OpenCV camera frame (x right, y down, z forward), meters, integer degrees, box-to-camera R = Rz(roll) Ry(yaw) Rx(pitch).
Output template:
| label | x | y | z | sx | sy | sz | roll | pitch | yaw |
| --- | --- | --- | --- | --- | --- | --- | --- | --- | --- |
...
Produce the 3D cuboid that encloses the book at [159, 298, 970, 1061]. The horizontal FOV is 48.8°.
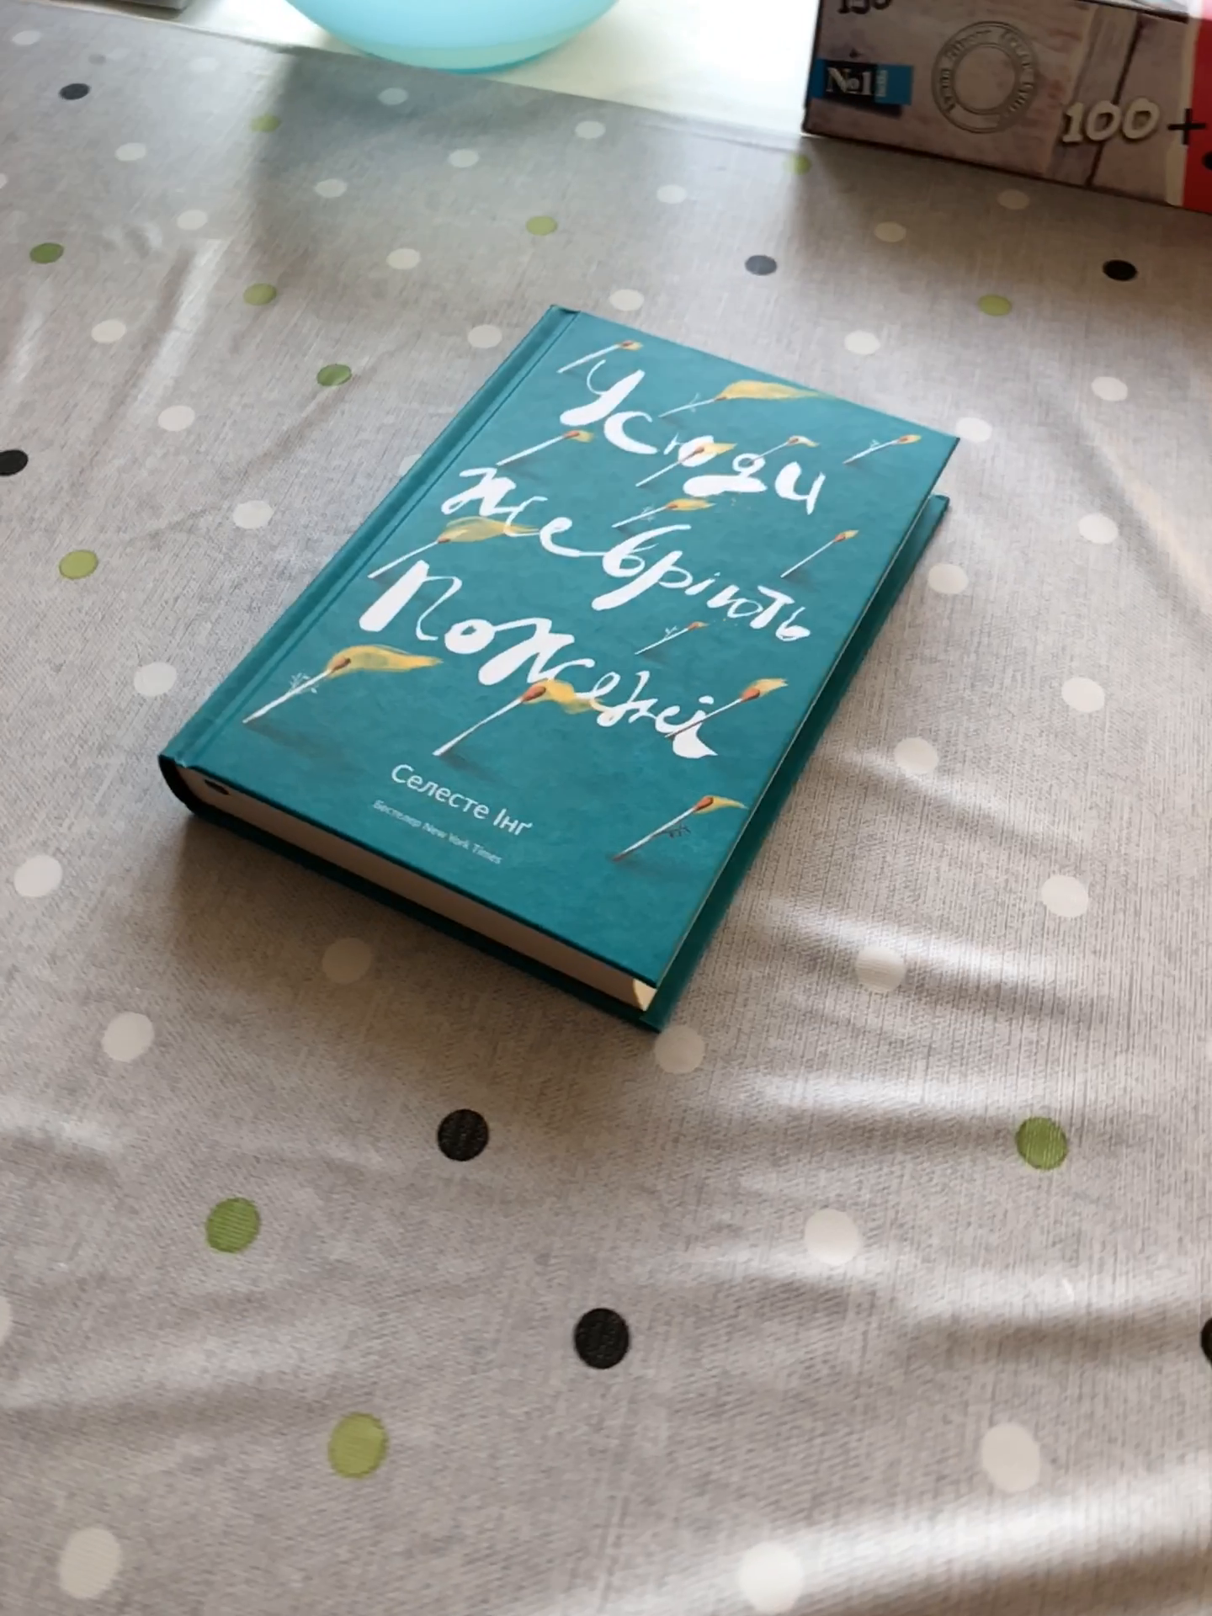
| label | x | y | z | sx | sy | sz | roll | pitch | yaw |
| --- | --- | --- | --- | --- | --- | --- | --- | --- | --- |
| book | -0.001 | -0.054 | 0.392 | 0.143 | 0.040 | 0.214 | 23 | 59 | 15 |
